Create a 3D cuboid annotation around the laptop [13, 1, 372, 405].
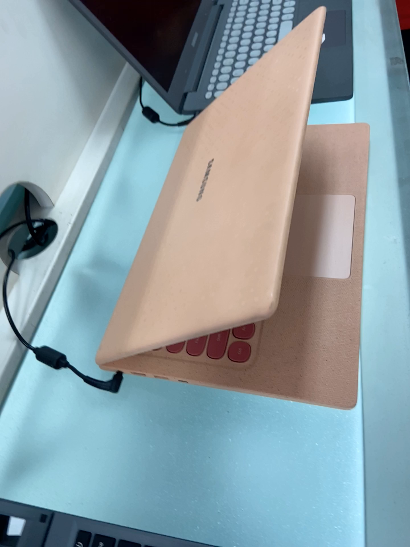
[{"bbox_3d":[0.027,-0.081,0.376,0.210,0.129,0.324,4,56,19],"label":"laptop"}]
